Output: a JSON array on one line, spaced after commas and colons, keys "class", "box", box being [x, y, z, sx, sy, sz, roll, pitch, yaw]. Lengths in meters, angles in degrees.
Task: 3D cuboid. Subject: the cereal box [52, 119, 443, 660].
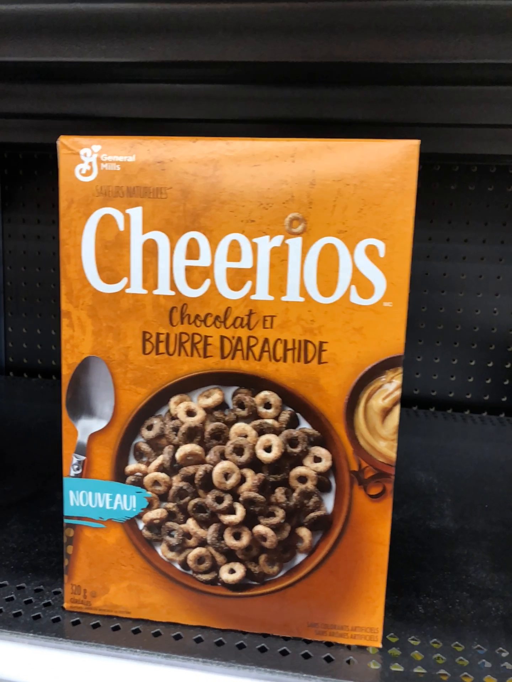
[{"class": "cereal box", "box": [-0.011, 0.027, 0.340, 0.200, 0.289, 0.060, 4, 9, 7]}]
